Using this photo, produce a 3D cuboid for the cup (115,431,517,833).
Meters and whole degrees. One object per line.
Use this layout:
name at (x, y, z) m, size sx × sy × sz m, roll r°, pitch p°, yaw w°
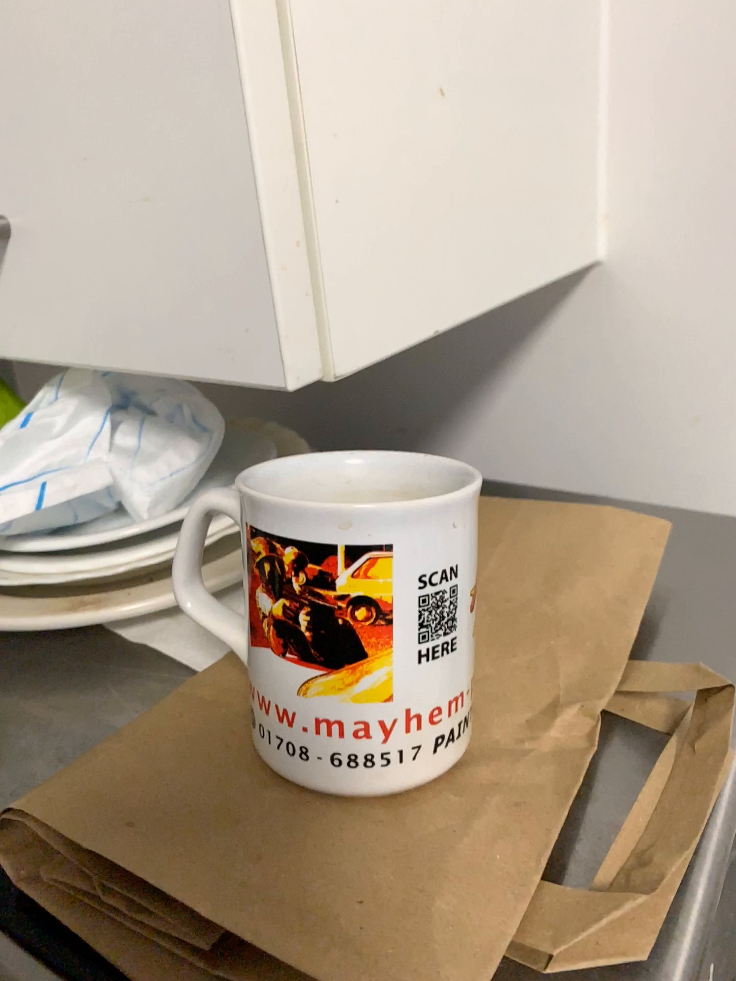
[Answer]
cup at (-0.014, 0.034, 0.251) m, size 0.100 × 0.088 × 0.078 m, roll 7°, pitch 16°, yaw 29°
